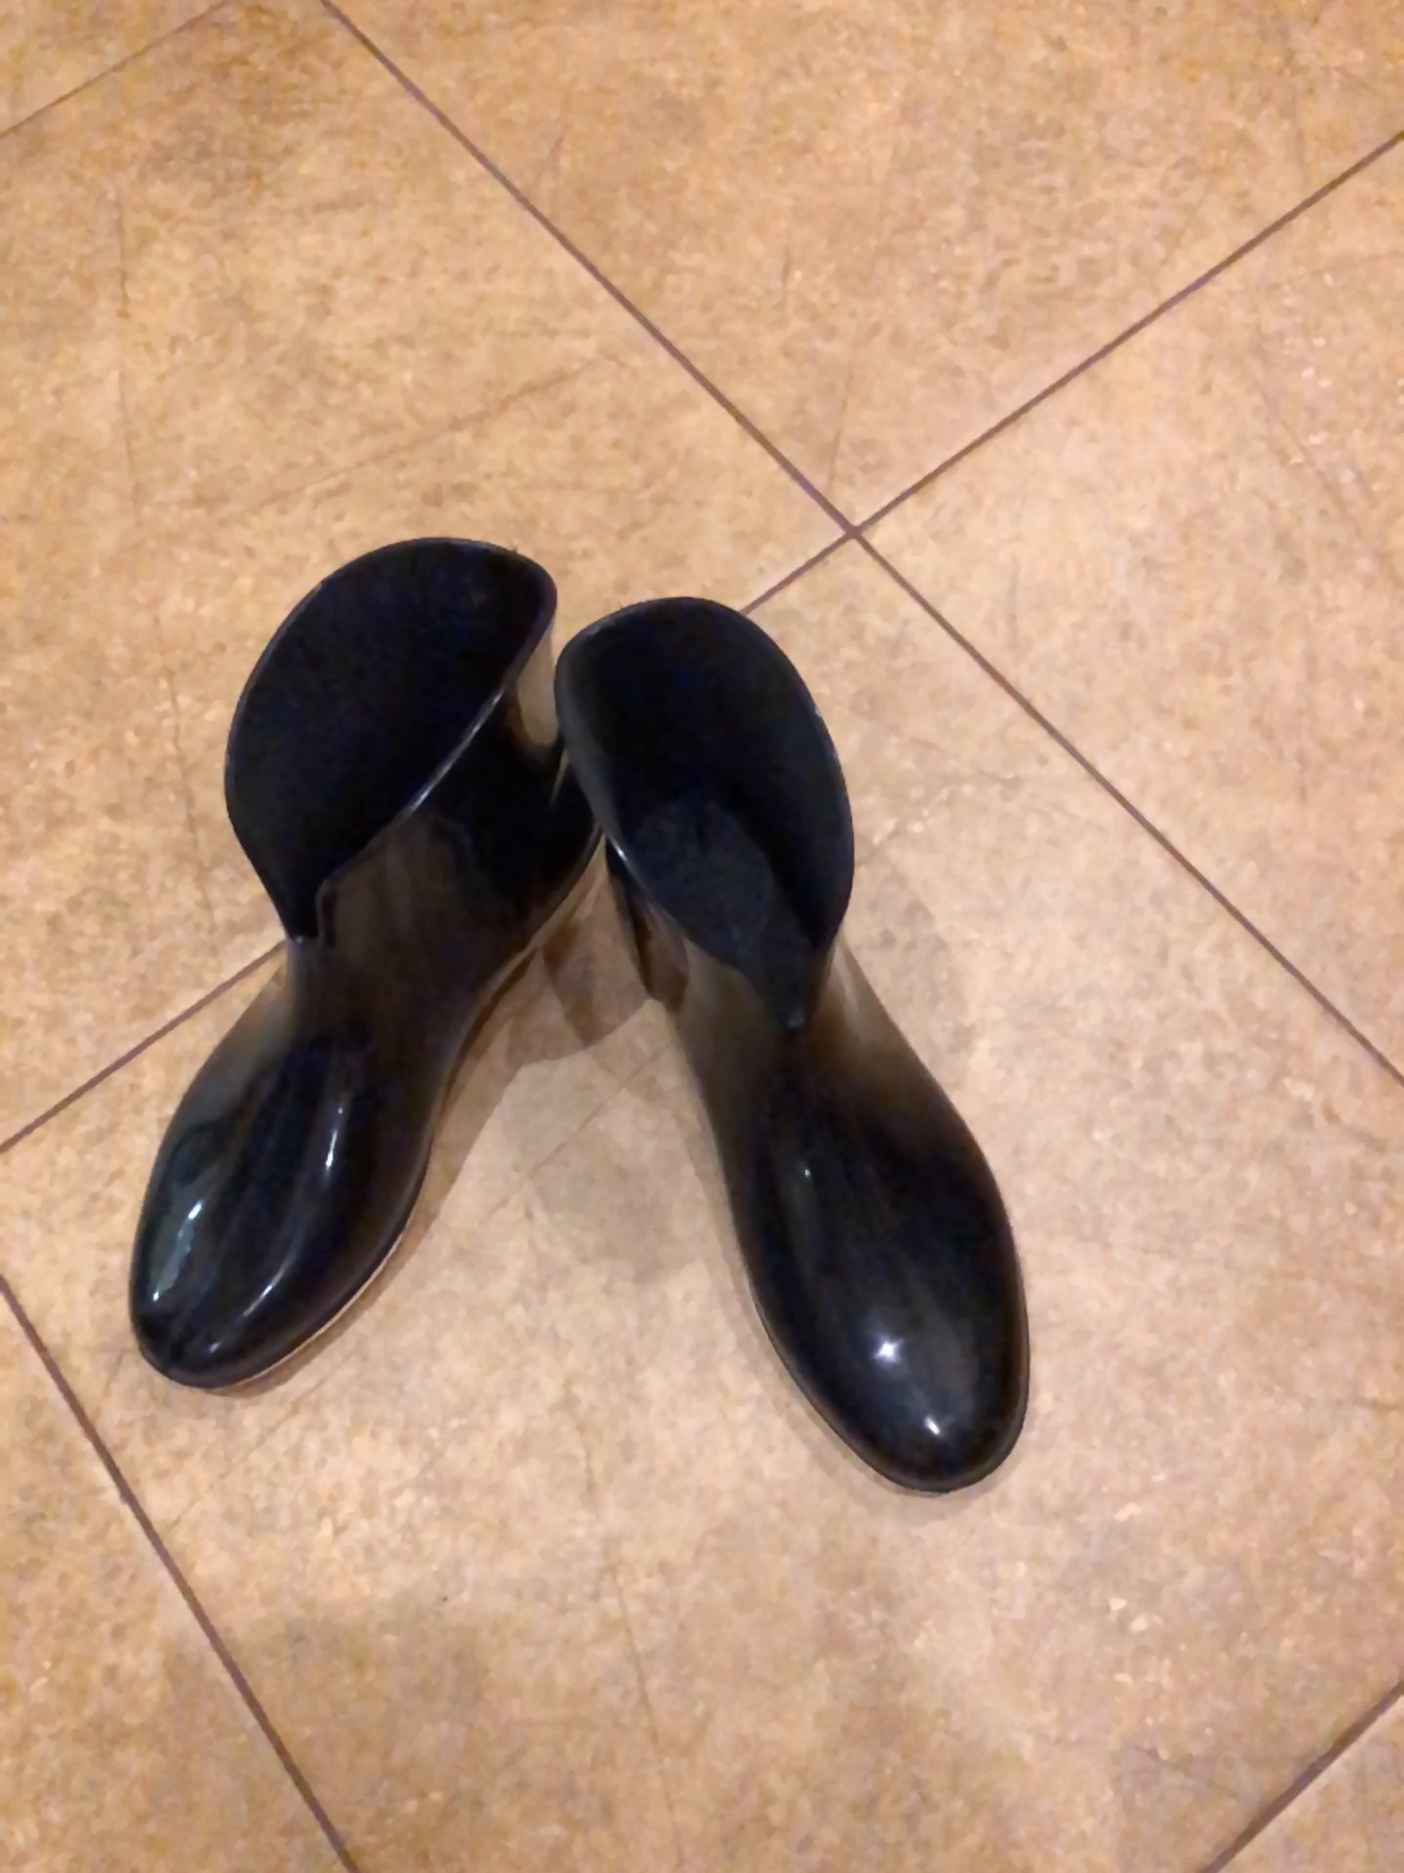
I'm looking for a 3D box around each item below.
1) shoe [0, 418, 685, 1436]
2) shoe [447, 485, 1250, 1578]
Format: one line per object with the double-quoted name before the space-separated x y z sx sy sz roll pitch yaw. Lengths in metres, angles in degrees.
"shoe" -0.112 0.010 0.450 0.090 0.170 0.240 29 74 13
"shoe" 0.029 0.035 0.428 0.090 0.170 0.241 -22 70 -4
